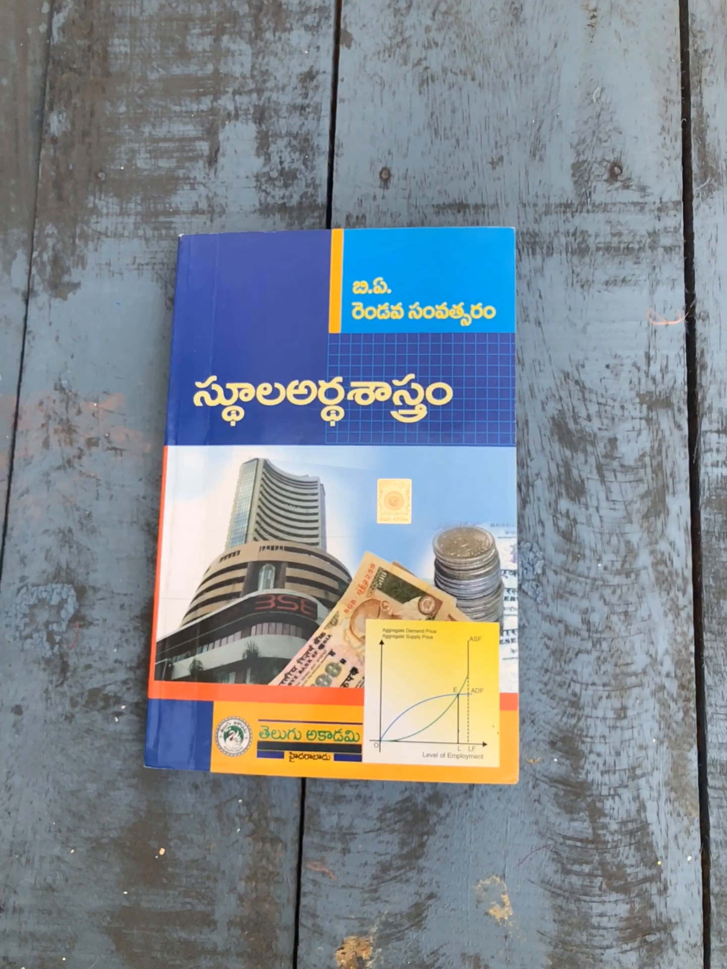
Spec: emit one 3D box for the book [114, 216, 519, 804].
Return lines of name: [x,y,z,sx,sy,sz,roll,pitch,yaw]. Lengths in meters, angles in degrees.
book: [-0.018,0.006,0.364,0.170,0.030,0.250,1,84,5]
